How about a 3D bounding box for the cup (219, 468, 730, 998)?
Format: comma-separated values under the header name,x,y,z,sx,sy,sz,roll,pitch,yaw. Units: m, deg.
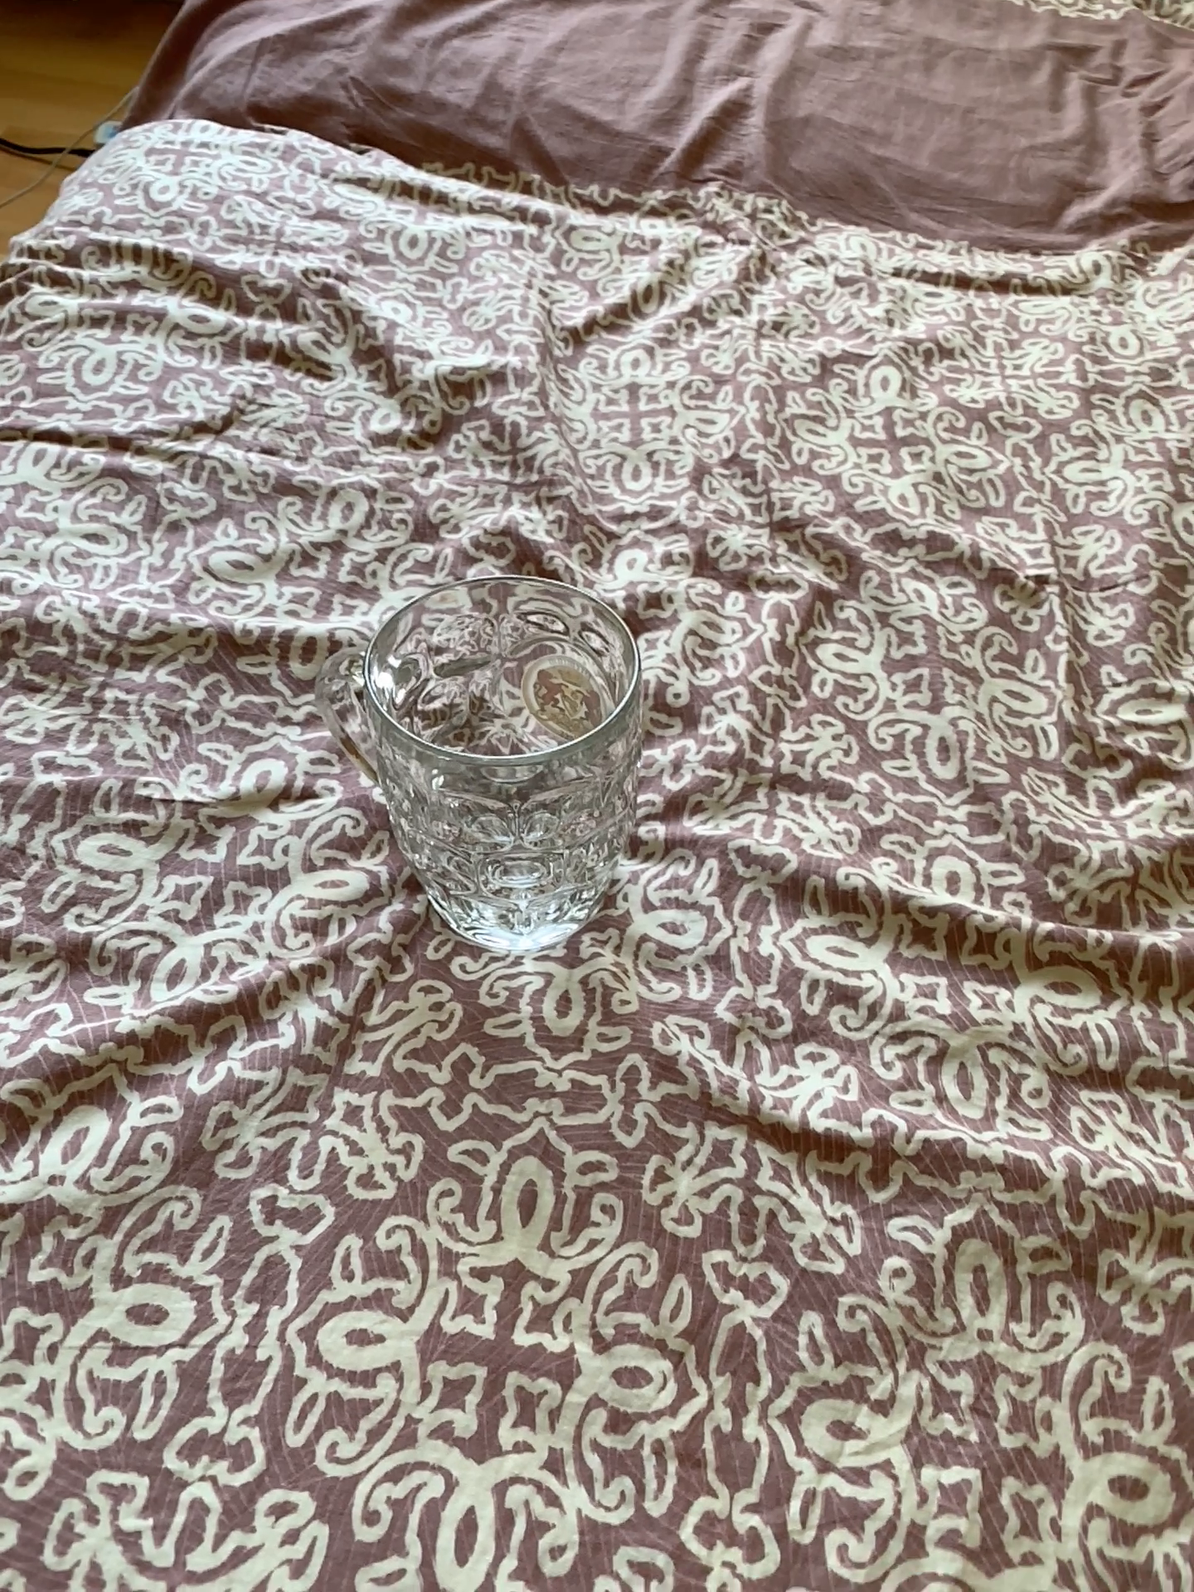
name,x,y,z,sx,sy,sz,roll,pitch,yaw
cup,-0.041,-0.022,0.421,0.130,0.109,0.091,25,51,12
